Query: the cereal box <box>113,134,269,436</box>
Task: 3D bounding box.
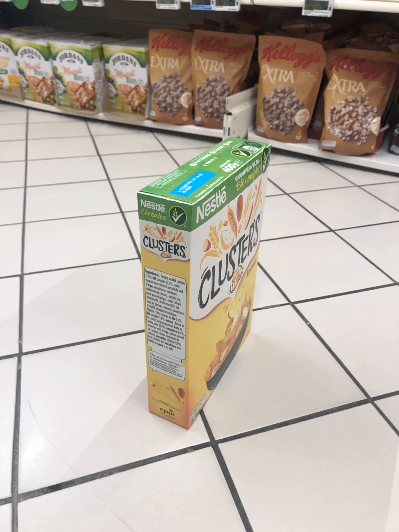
[{"bbox_3d":[0.000,0.014,0.499,0.060,0.268,0.211,16,34,22],"label":"cereal box"}]
